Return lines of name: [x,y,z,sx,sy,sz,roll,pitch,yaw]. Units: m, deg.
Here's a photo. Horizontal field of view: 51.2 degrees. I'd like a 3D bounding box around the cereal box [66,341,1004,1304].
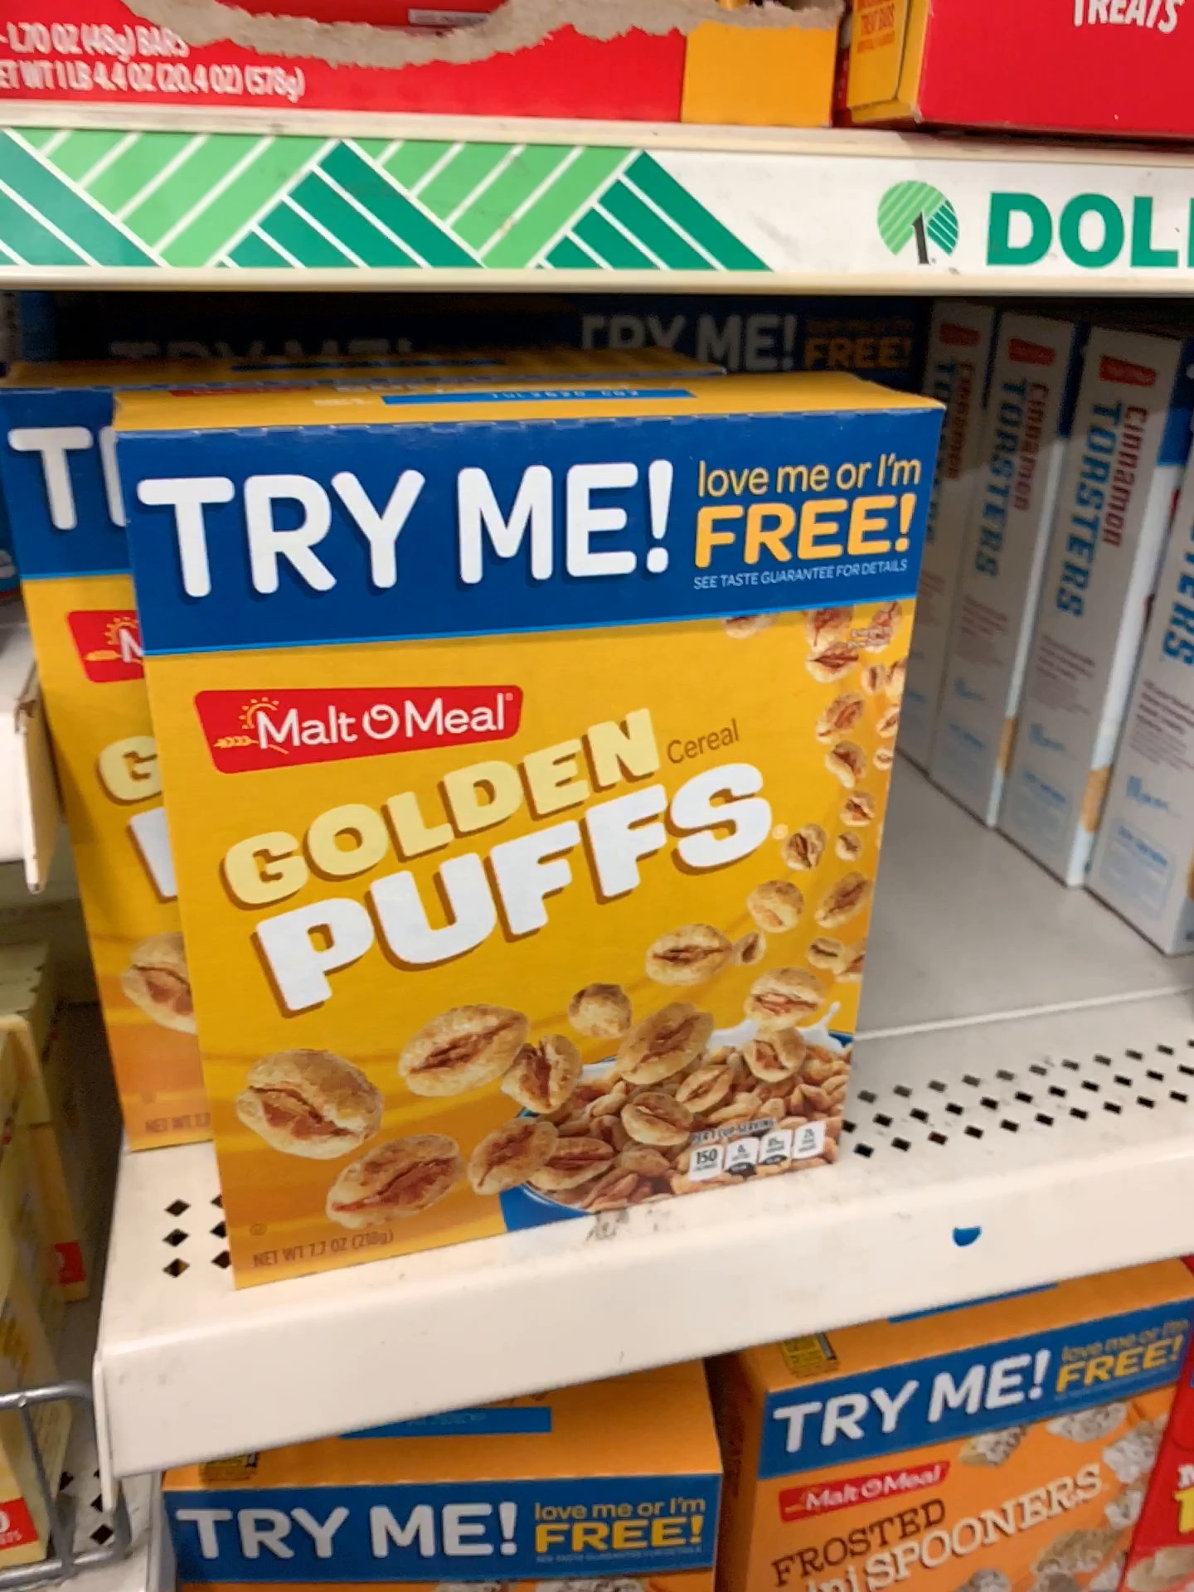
cereal box: [-0.013,0.005,0.318,0.190,0.219,0.060,-7,27,-16]
